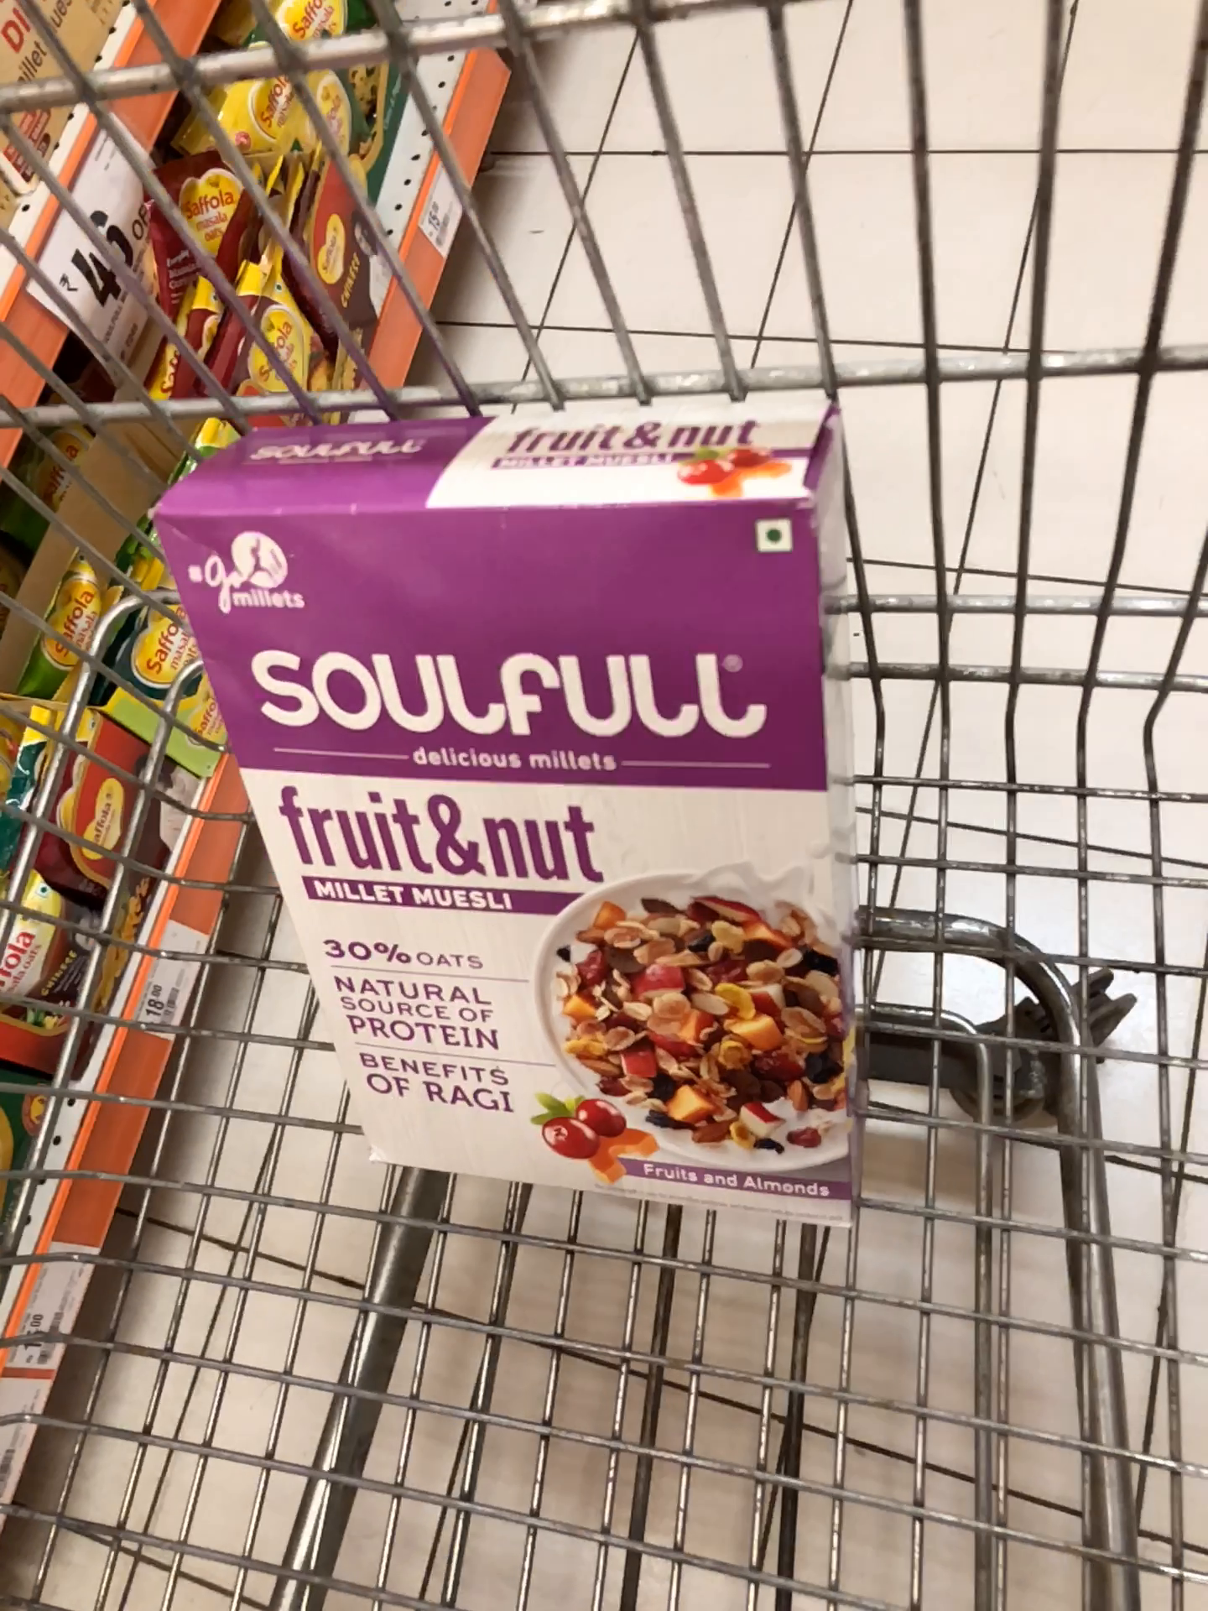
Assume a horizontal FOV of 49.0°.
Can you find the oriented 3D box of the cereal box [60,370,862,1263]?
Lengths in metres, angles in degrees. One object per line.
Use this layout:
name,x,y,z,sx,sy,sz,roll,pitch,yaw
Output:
cereal box,-0.020,0.013,0.376,0.170,0.239,0.070,2,35,17
